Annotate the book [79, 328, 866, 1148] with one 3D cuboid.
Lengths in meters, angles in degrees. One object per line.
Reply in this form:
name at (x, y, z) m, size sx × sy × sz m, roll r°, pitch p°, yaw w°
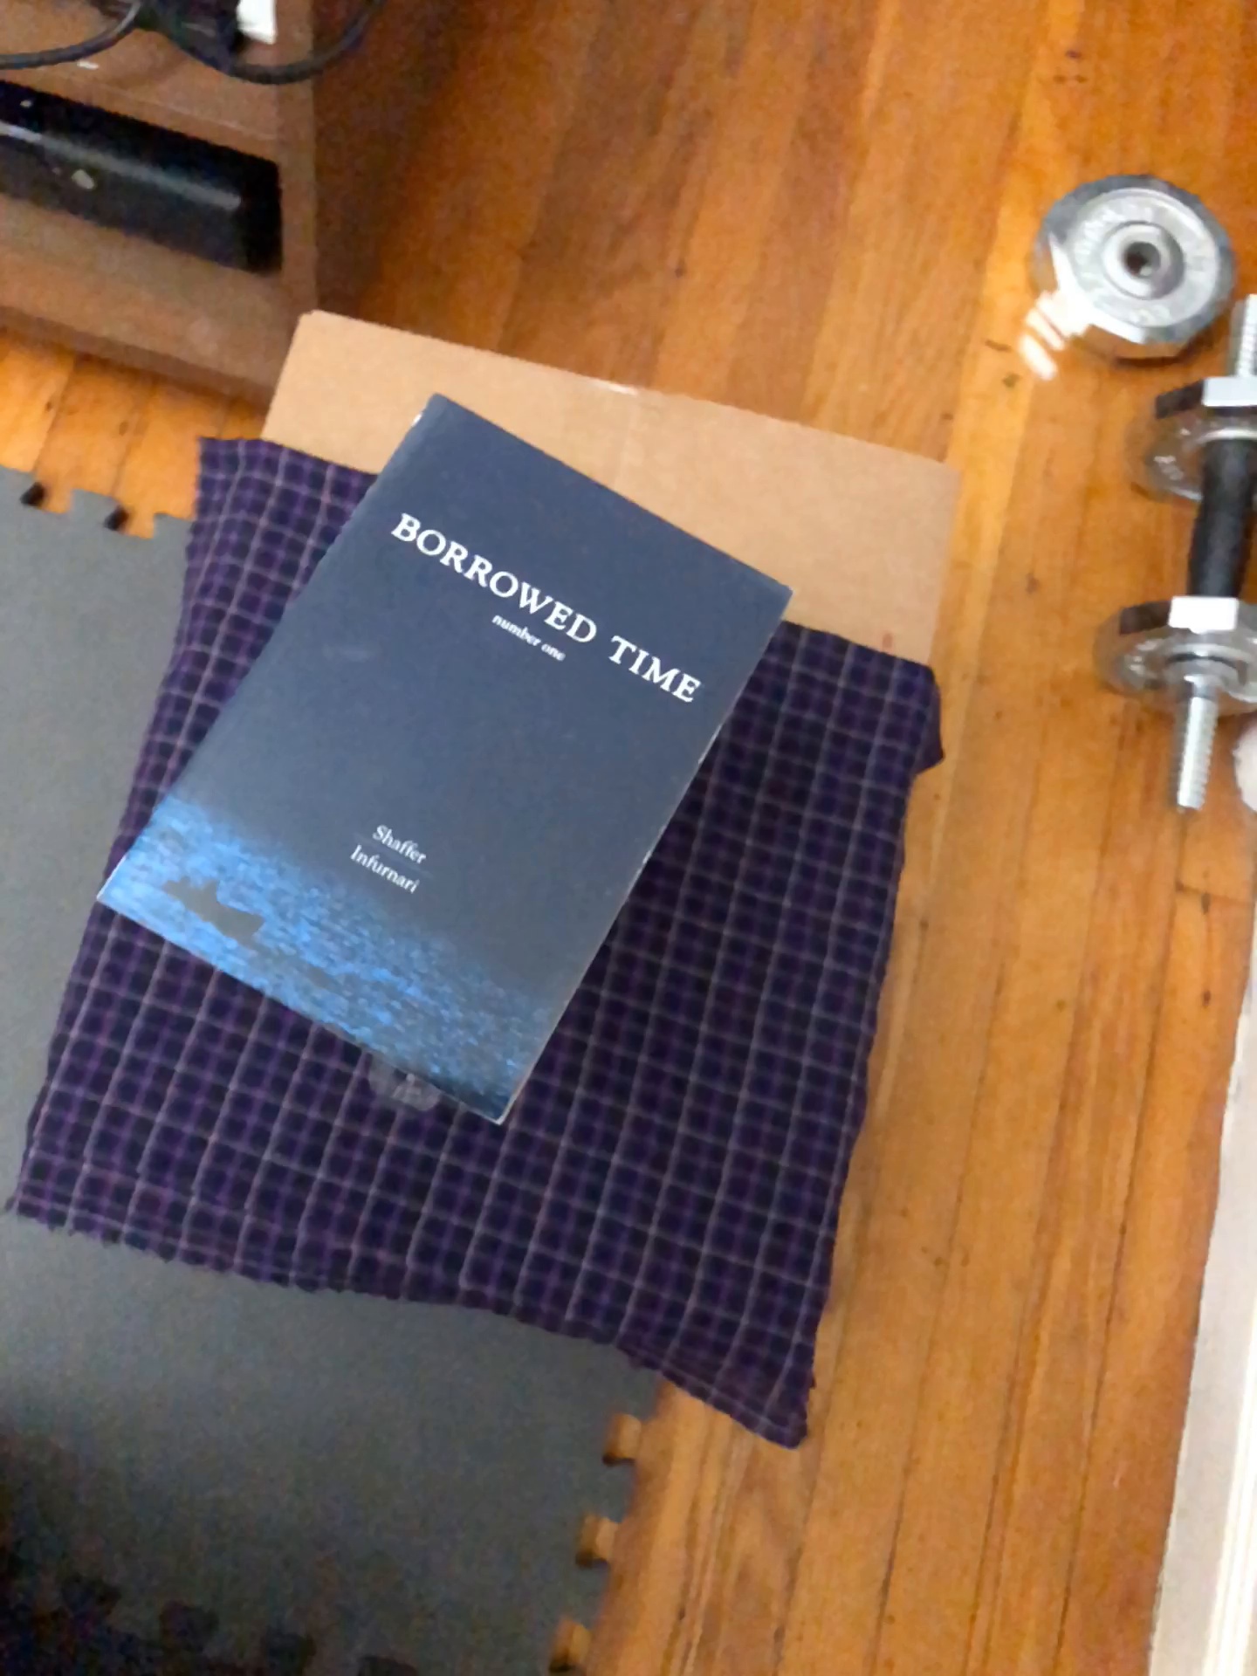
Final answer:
book at (-0.042, -0.042, 0.454) m, size 0.160 × 0.010 × 0.230 m, roll 29°, pitch 73°, yaw 0°
